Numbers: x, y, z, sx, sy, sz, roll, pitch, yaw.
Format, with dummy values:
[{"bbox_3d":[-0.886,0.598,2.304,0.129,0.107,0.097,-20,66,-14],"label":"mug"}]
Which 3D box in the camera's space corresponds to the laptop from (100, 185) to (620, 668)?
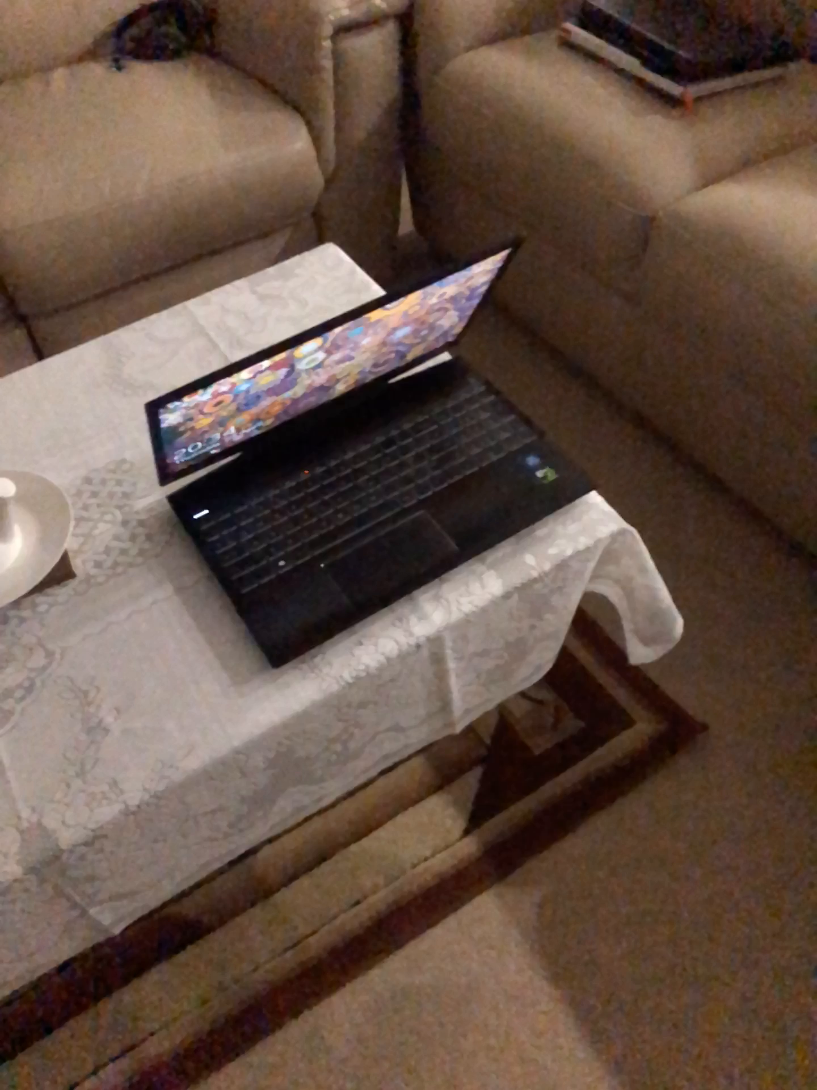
[{"bbox_3d":[-0.036,-0.118,0.806,0.355,0.199,0.243,-29,54,-17],"label":"laptop"}]
